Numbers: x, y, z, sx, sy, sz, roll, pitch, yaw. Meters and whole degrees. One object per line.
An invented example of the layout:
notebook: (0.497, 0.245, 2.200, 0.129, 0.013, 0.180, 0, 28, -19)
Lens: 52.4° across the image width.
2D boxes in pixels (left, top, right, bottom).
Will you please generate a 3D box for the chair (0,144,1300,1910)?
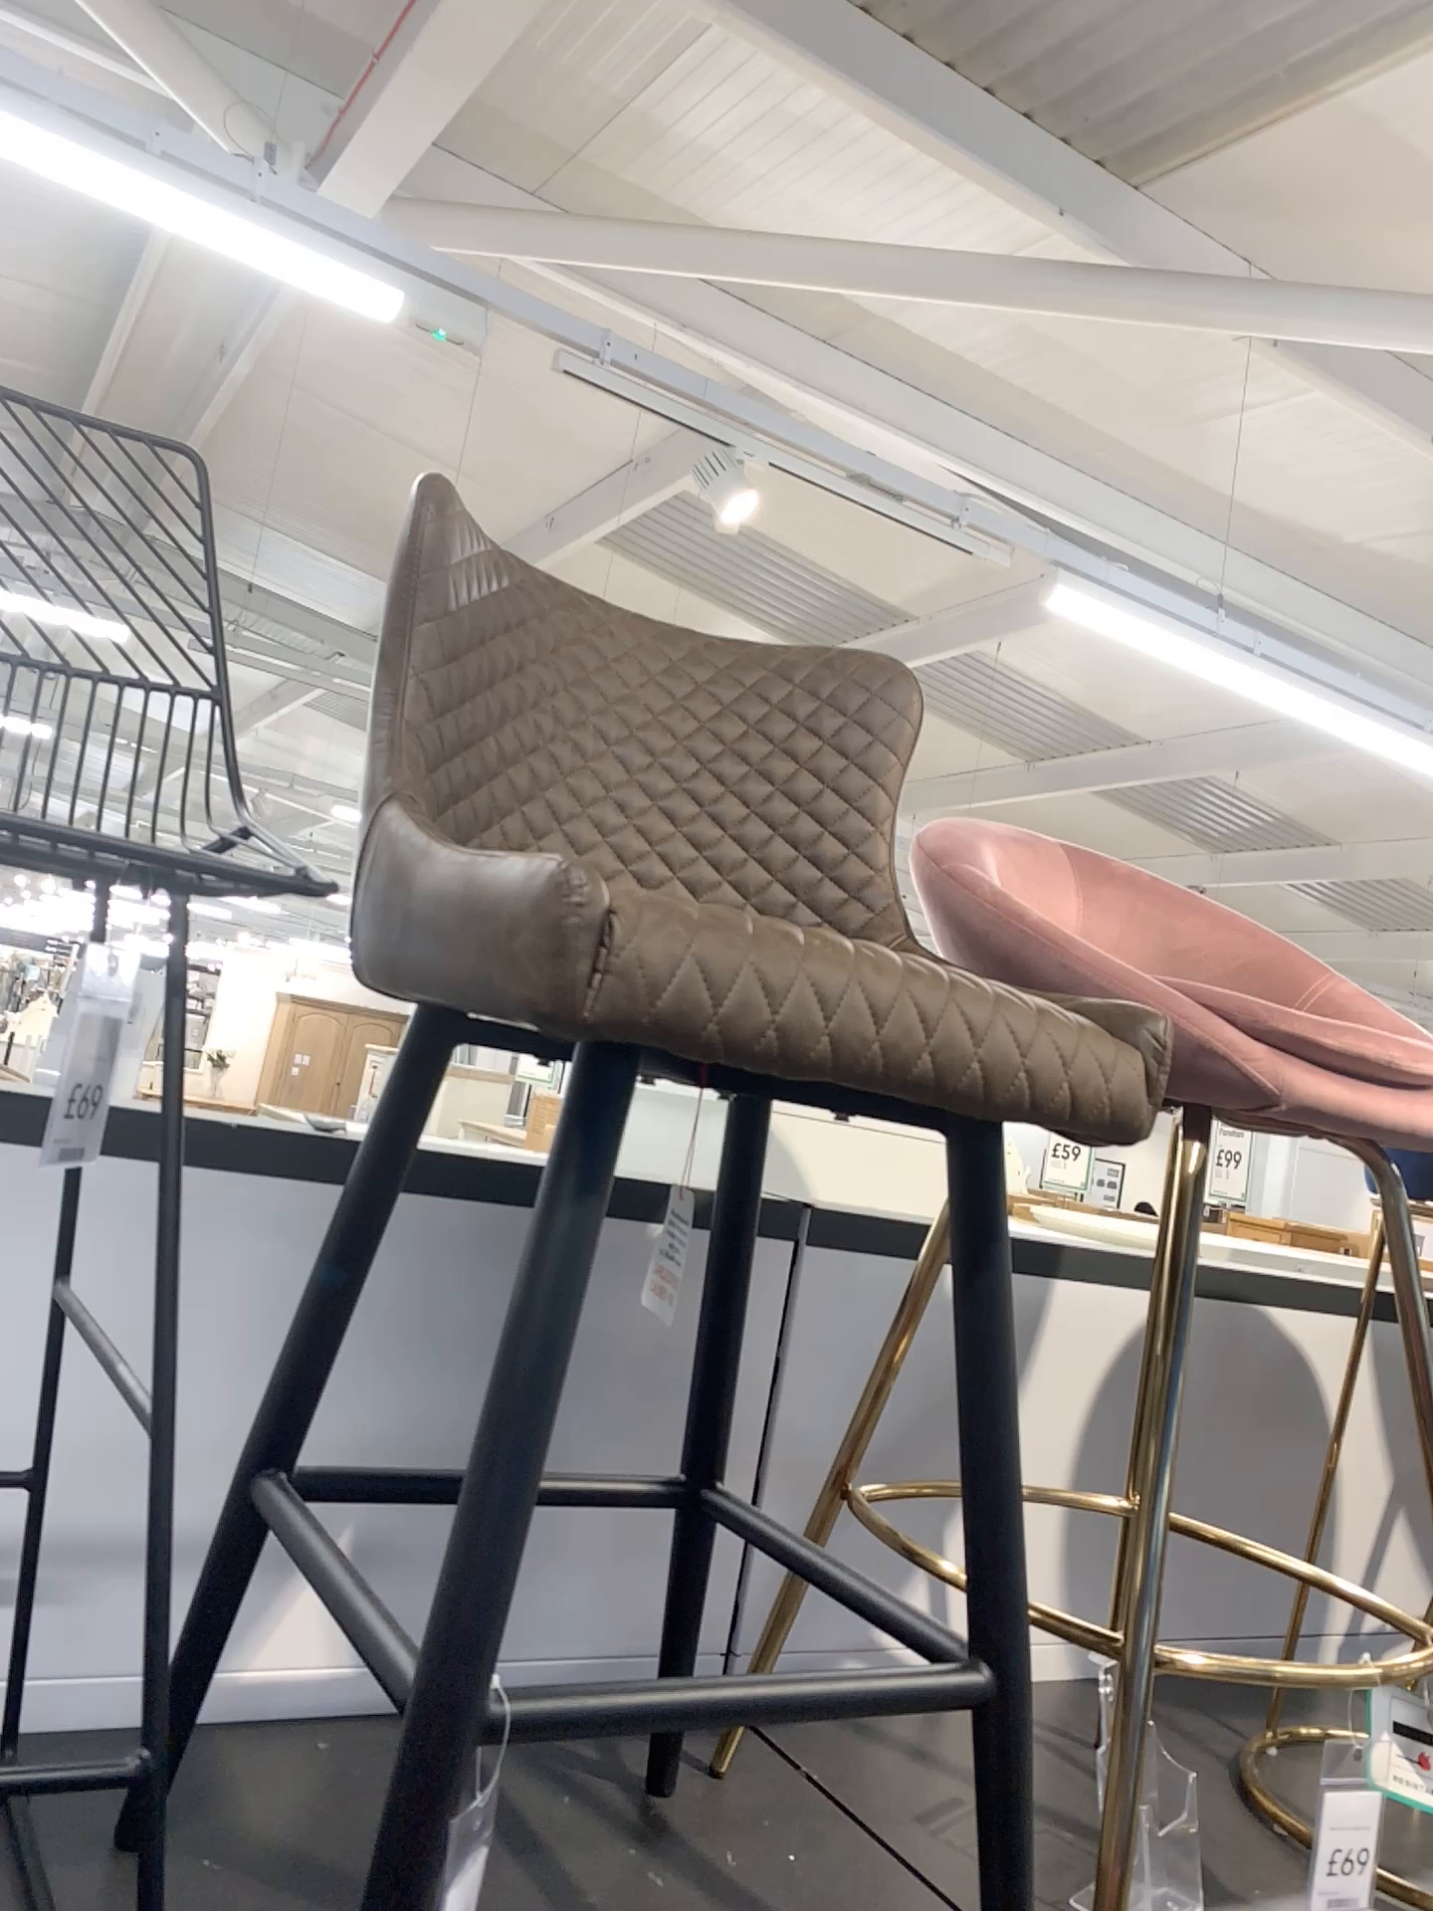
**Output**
chair: (-0.056, 0.145, 0.980, 0.534, 0.998, 0.465, 16, -5, -37)
